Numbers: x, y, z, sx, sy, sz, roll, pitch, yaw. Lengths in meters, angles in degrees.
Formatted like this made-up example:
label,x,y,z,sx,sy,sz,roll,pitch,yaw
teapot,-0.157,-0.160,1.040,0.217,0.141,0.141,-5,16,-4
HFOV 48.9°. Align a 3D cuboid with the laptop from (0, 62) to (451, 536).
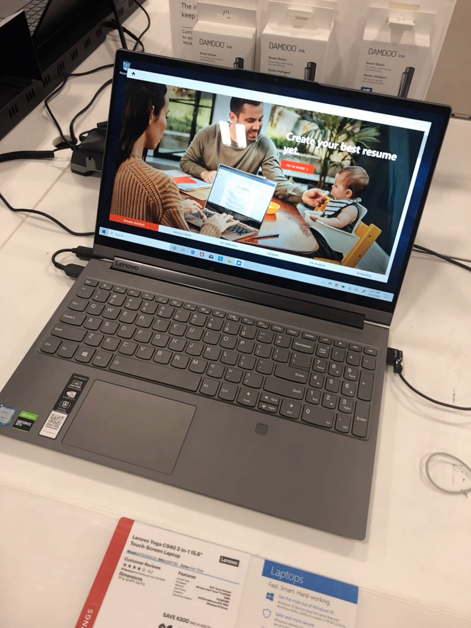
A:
label,x,y,z,sx,sy,sz,roll,pitch,yaw
laptop,-0.005,-0.047,0.498,0.345,0.189,0.369,13,50,9
